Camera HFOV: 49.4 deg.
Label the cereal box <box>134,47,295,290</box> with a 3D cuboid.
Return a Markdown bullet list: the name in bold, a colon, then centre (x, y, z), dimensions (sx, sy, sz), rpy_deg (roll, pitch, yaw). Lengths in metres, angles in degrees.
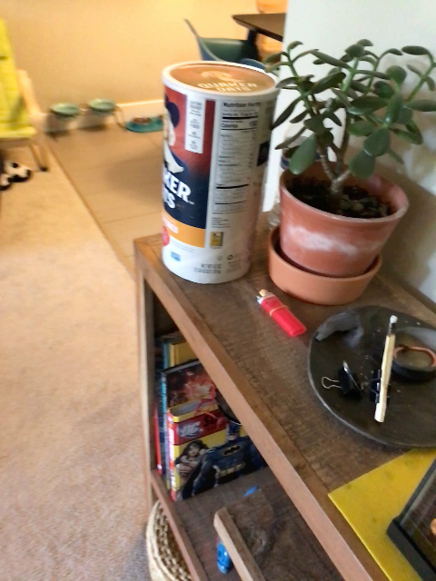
- **cereal box**: centre (-0.015, -0.151, 0.594), dimensions (0.140, 0.248, 0.141), rpy_deg (-9, 41, -15)
